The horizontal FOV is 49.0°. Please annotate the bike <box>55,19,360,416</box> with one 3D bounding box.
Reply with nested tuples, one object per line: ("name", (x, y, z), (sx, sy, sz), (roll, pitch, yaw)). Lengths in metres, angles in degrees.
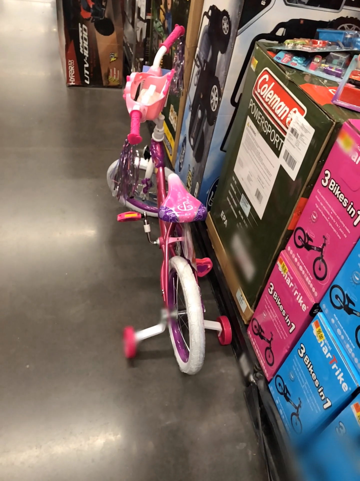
("bike", (-0.062, -0.124, 1.332), (0.477, 0.854, 0.953), (-11, 46, -22))
